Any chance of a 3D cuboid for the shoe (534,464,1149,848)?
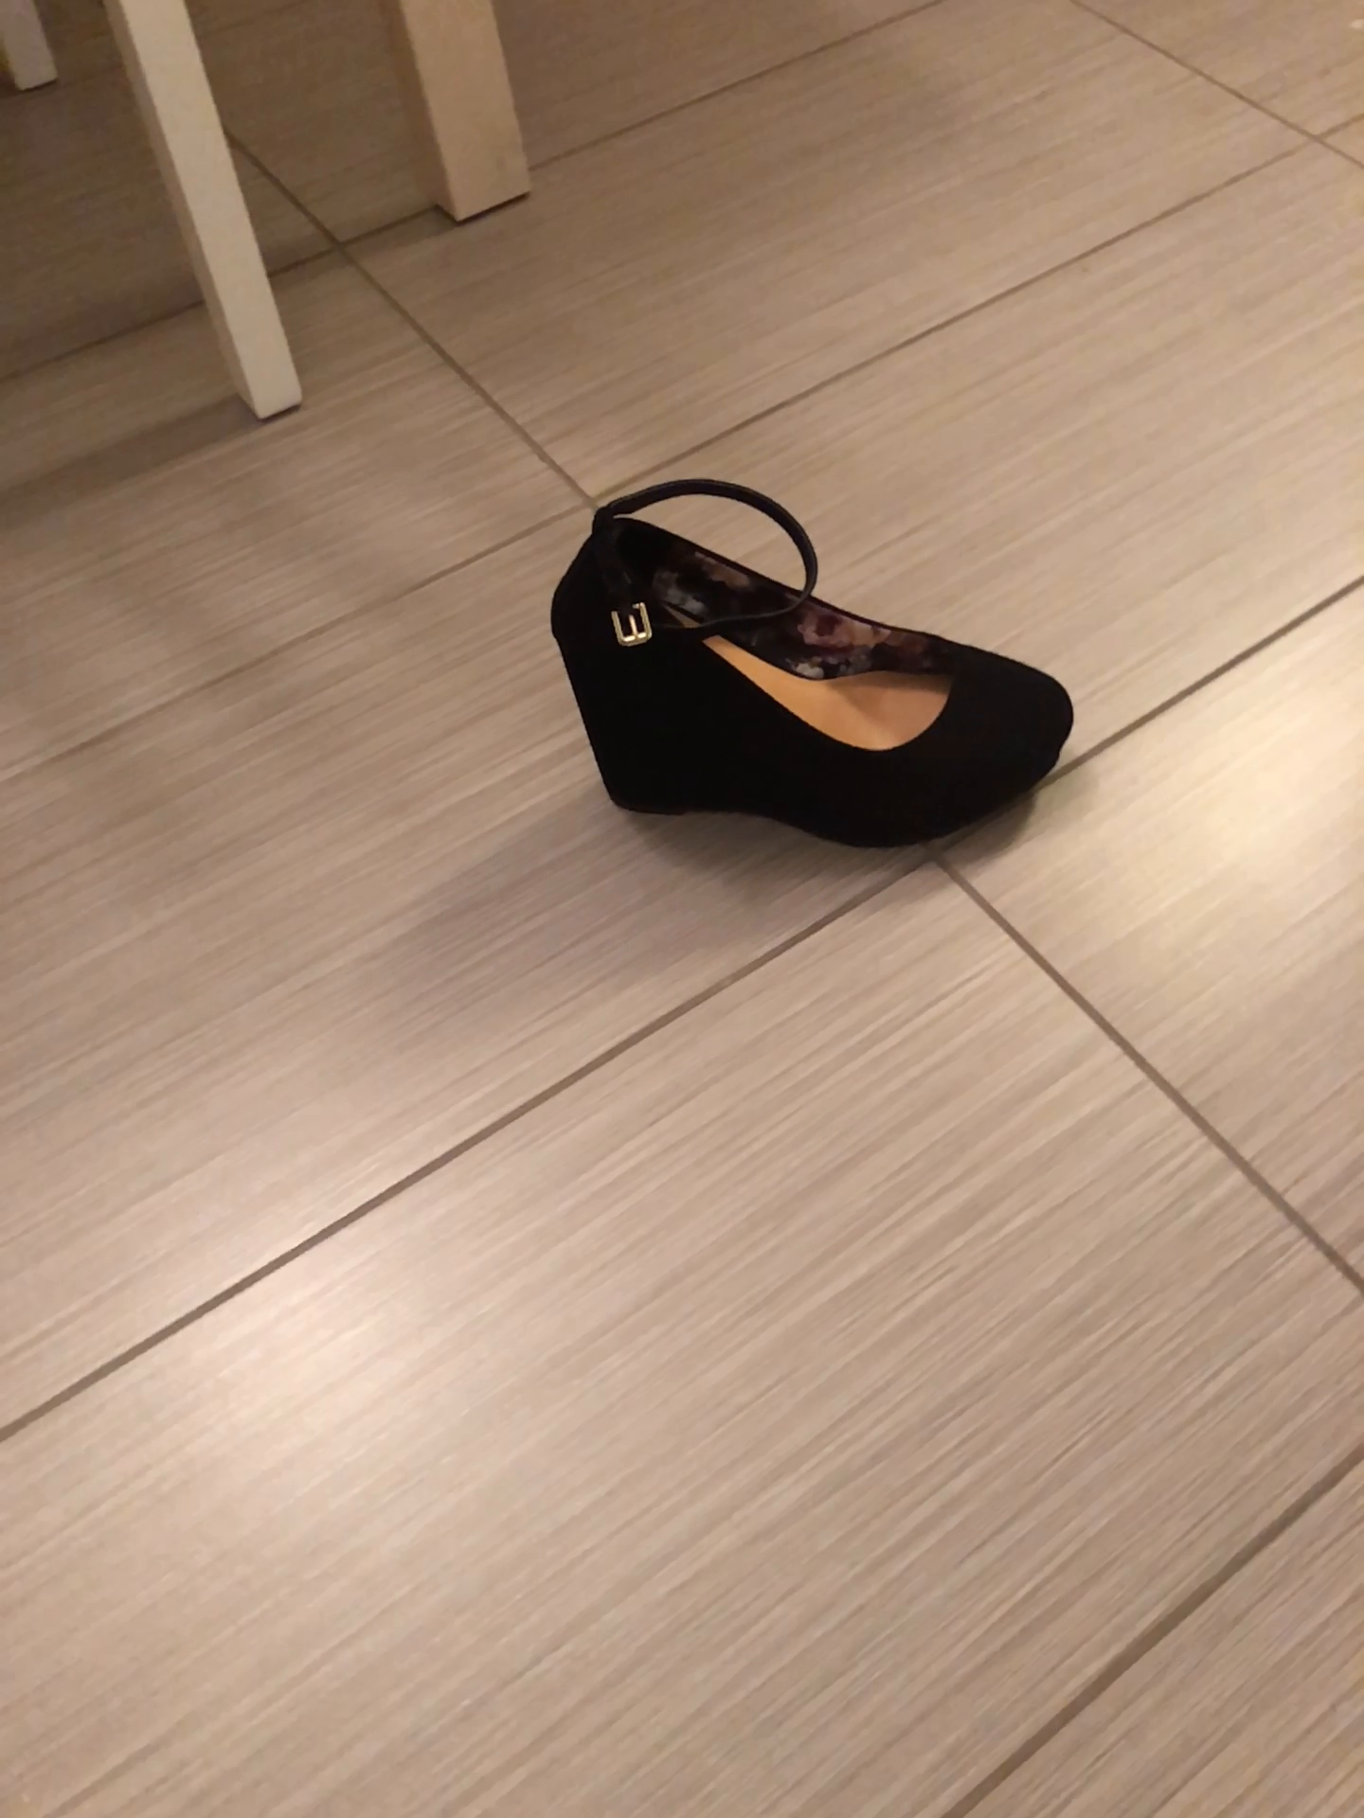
[{"bbox_3d":[0.065,-0.110,0.673,0.240,0.139,0.100,1,57,2],"label":"shoe"}]
